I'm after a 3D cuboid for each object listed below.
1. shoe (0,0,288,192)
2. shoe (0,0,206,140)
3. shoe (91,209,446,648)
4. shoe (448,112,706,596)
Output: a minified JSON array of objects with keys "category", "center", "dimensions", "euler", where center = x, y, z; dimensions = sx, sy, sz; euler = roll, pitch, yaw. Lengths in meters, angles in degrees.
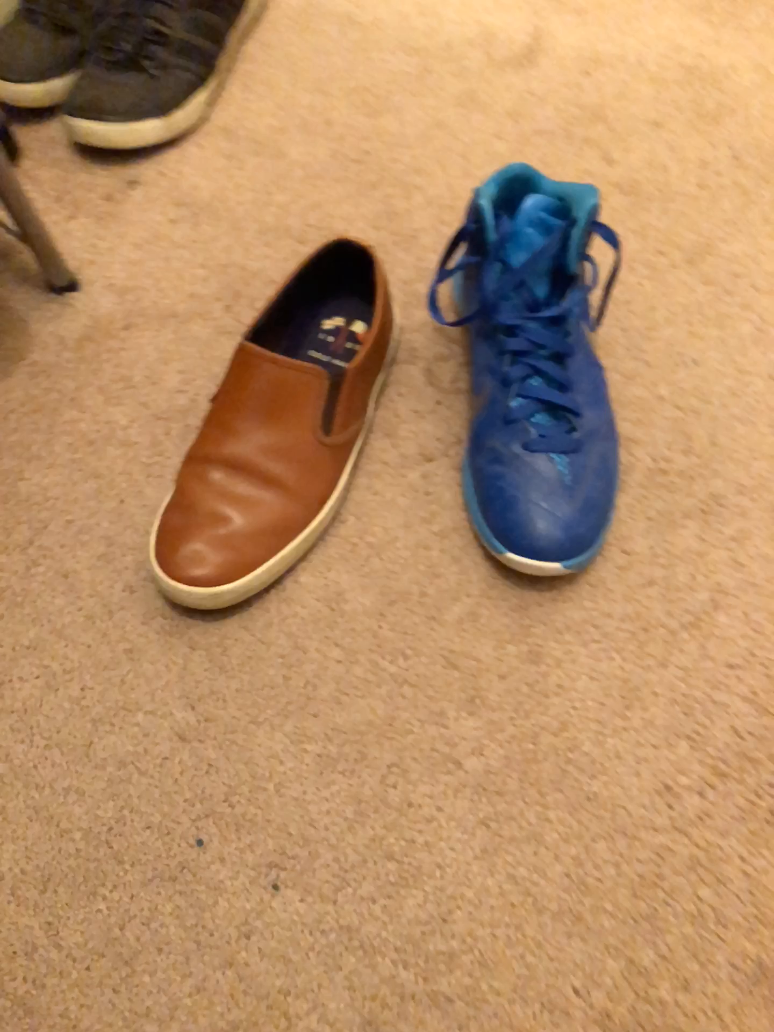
[{"category":"shoe","center":[-0.196,-0.443,0.750],"dimensions":[0.115,0.113,0.293],"euler":[15,65,7]},{"category":"shoe","center":[-0.283,-0.496,0.771],"dimensions":[0.115,0.113,0.293],"euler":[15,65,7]},{"category":"shoe","center":[-0.066,-0.067,0.587],"dimensions":[0.105,0.083,0.283],"euler":[23,66,11]},{"category":"shoe","center":[0.108,-0.109,0.576],"dimensions":[0.115,0.143,0.293],"euler":[-1,64,0]}]
